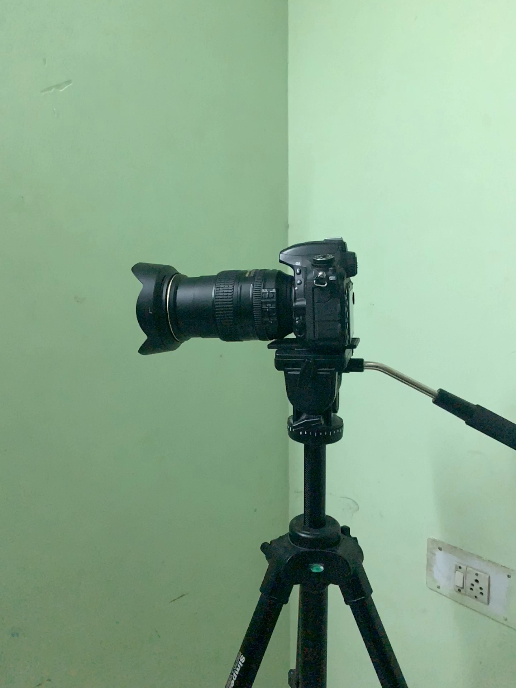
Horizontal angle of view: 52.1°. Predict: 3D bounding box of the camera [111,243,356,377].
[{"bbox_3d":[-0.016,-0.049,0.625,0.250,0.132,0.164,1,10,13],"label":"camera"}]
